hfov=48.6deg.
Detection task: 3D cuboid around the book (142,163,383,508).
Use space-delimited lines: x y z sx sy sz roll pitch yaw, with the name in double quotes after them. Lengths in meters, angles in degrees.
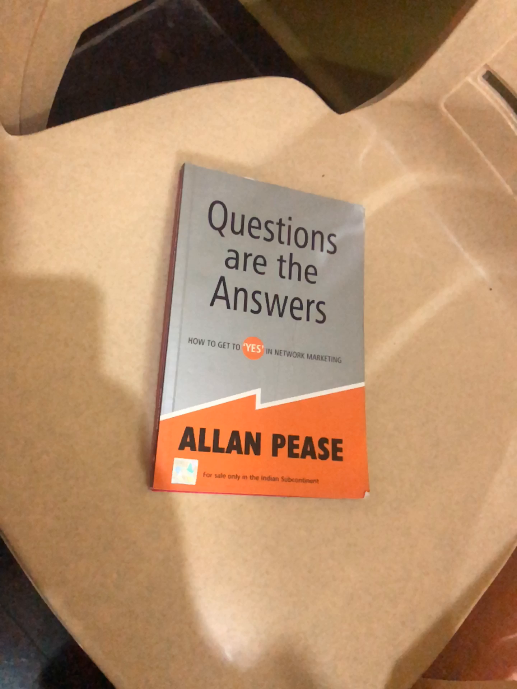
0.010 -0.004 0.378 0.150 0.020 0.210 7 77 -17 "book"
